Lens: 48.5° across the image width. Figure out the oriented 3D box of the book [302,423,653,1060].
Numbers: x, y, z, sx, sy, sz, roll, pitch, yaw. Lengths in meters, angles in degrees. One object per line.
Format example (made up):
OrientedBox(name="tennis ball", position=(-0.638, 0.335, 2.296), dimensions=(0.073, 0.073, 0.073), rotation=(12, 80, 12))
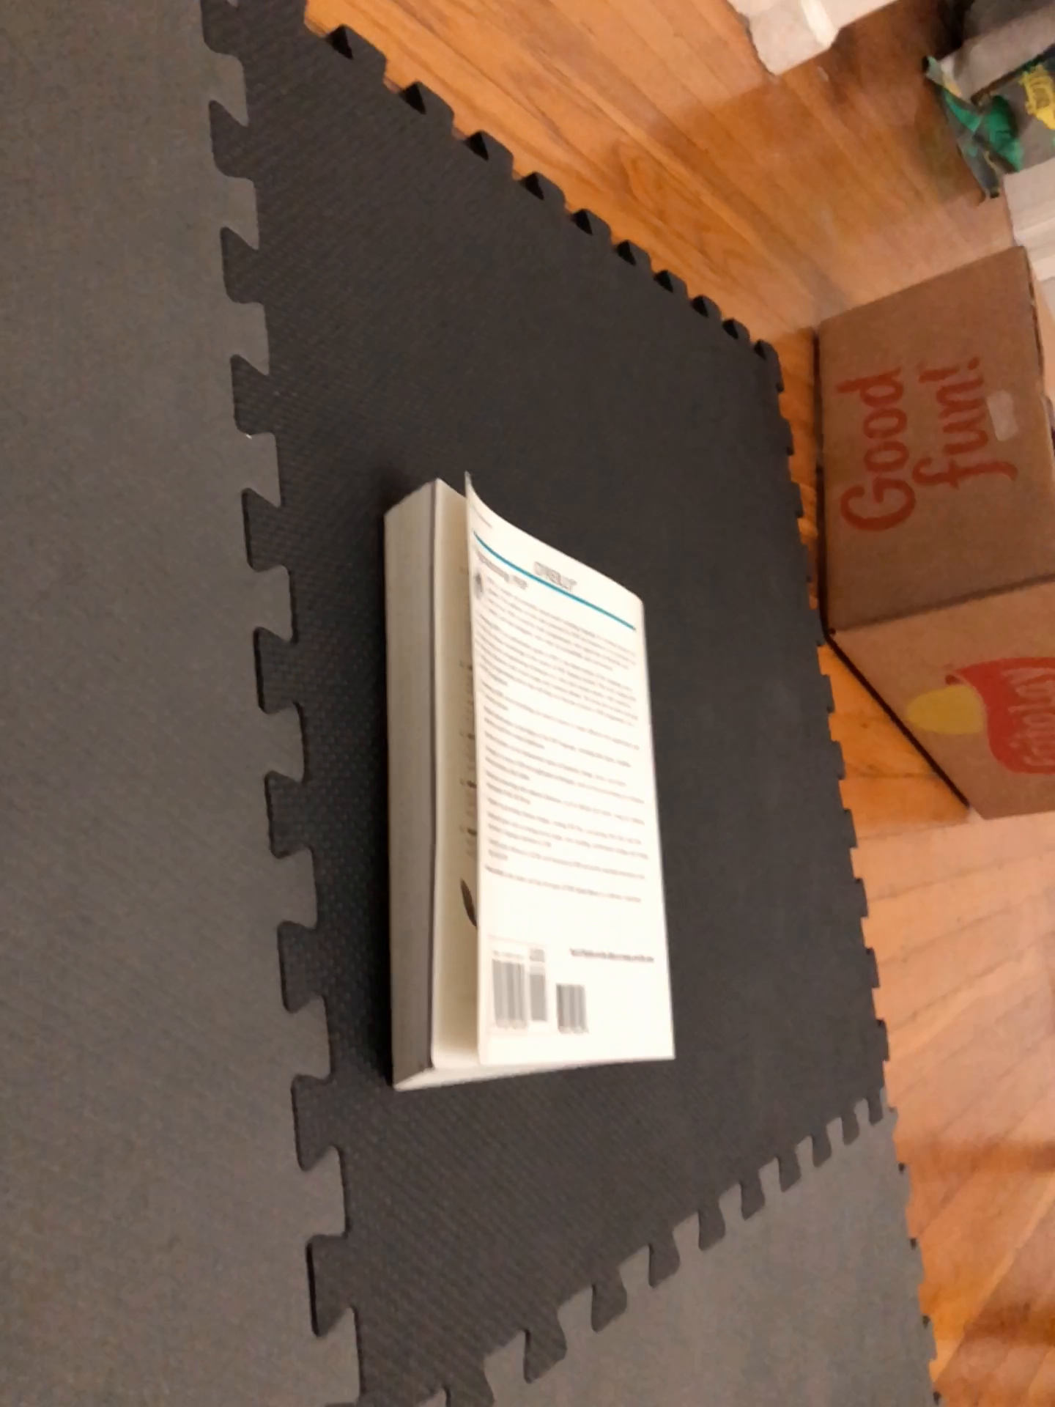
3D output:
OrientedBox(name="book", position=(-0.015, 0.034, 0.618), dimensions=(0.231, 0.040, 0.290), rotation=(22, 62, -52))
